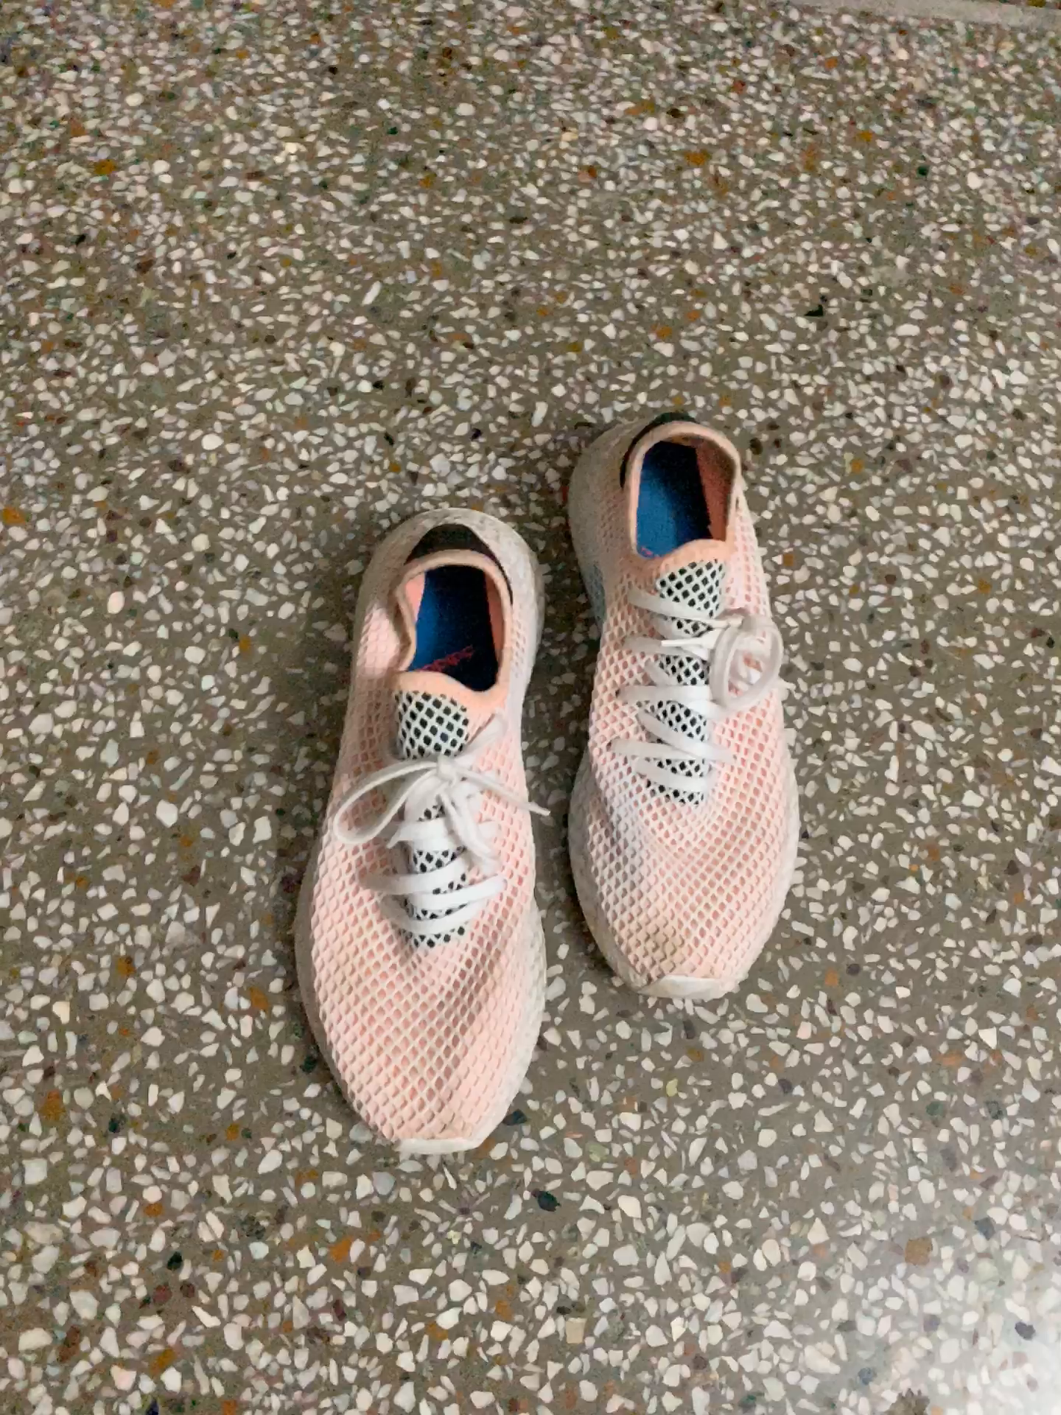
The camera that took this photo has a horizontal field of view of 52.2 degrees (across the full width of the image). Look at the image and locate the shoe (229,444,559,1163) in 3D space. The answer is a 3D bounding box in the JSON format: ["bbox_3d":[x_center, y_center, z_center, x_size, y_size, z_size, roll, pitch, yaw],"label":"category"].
[{"bbox_3d":[-0.053,0.042,0.508,0.122,0.100,0.309,2,71,-3],"label":"shoe"}]

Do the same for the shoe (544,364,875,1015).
[{"bbox_3d":[0.076,-0.010,0.546,0.122,0.100,0.309,0,71,-4],"label":"shoe"}]
